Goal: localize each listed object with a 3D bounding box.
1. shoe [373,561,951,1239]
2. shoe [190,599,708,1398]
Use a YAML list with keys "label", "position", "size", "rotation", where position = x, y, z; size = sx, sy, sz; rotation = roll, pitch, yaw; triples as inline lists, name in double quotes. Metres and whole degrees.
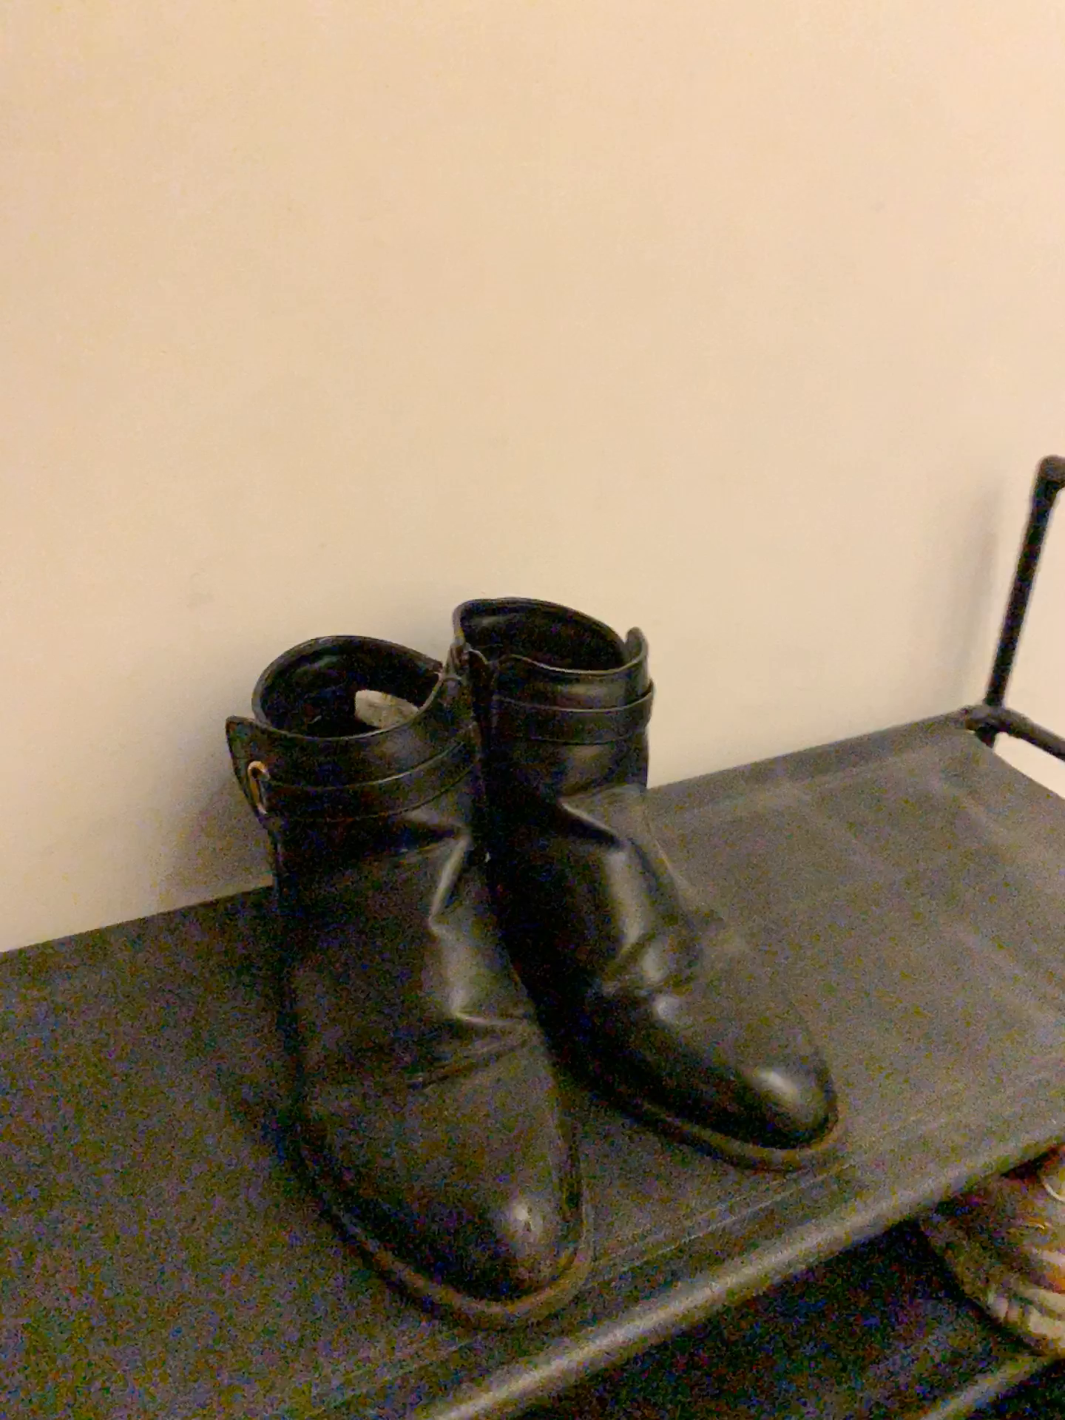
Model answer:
- label: "shoe"
  position: [0.032, 0.057, 0.473]
  size: [0.100, 0.169, 0.241]
  rotation: [-14, 29, -31]
- label: "shoe"
  position: [-0.047, 0.080, 0.408]
  size: [0.100, 0.169, 0.221]
  rotation: [-10, 27, -24]
